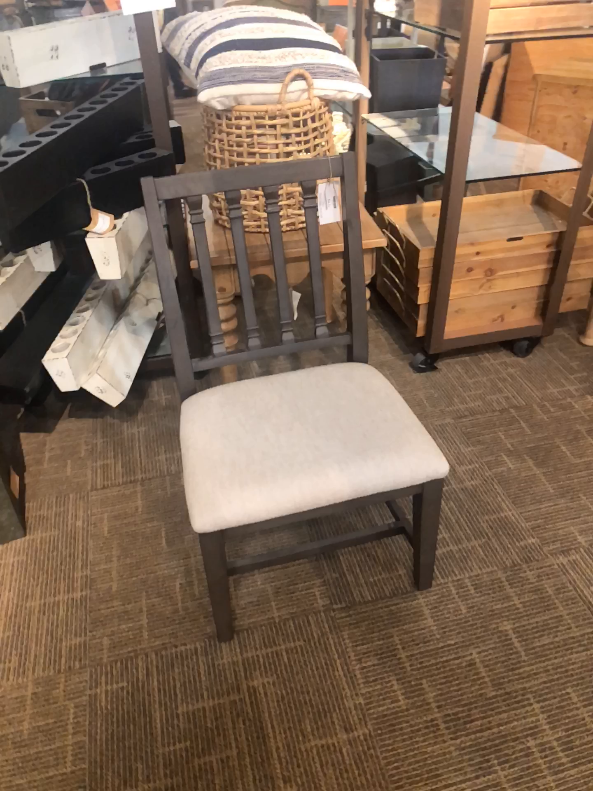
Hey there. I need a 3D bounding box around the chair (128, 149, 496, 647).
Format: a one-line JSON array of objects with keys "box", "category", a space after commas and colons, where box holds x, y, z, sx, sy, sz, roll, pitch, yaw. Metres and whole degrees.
[{"box": [-0.008, 0.000, 1.520, 0.580, 0.905, 0.603, -10, 37, -10], "category": "chair"}]
